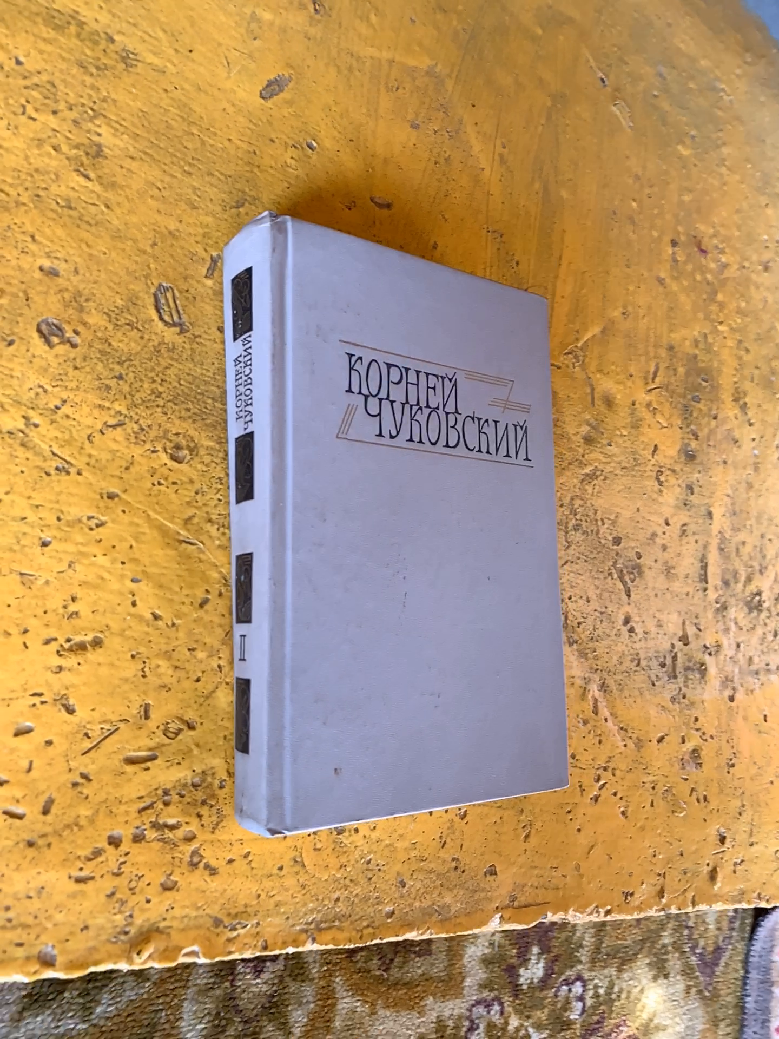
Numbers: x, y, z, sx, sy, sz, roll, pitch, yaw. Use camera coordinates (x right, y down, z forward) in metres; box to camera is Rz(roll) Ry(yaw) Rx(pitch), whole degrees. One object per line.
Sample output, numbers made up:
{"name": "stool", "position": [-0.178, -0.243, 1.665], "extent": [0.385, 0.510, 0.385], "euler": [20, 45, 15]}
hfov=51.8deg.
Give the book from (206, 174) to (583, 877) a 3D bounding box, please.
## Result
{"name": "book", "position": [0.006, 0.001, 0.296], "extent": [0.139, 0.031, 0.216], "euler": [4, 81, -34]}
